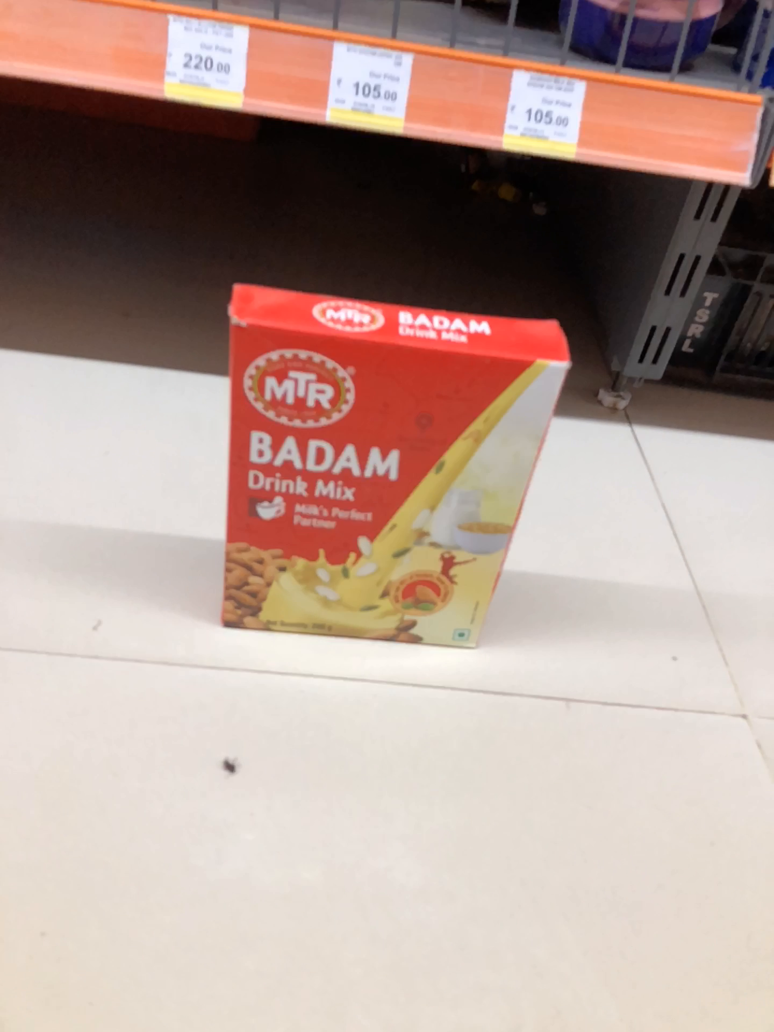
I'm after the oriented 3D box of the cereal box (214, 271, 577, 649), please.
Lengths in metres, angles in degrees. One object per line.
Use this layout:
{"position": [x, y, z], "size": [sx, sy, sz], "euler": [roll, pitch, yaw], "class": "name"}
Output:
{"position": [-0.006, -0.015, 0.368], "size": [0.130, 0.159, 0.040], "euler": [5, 39, -6], "class": "cereal box"}
